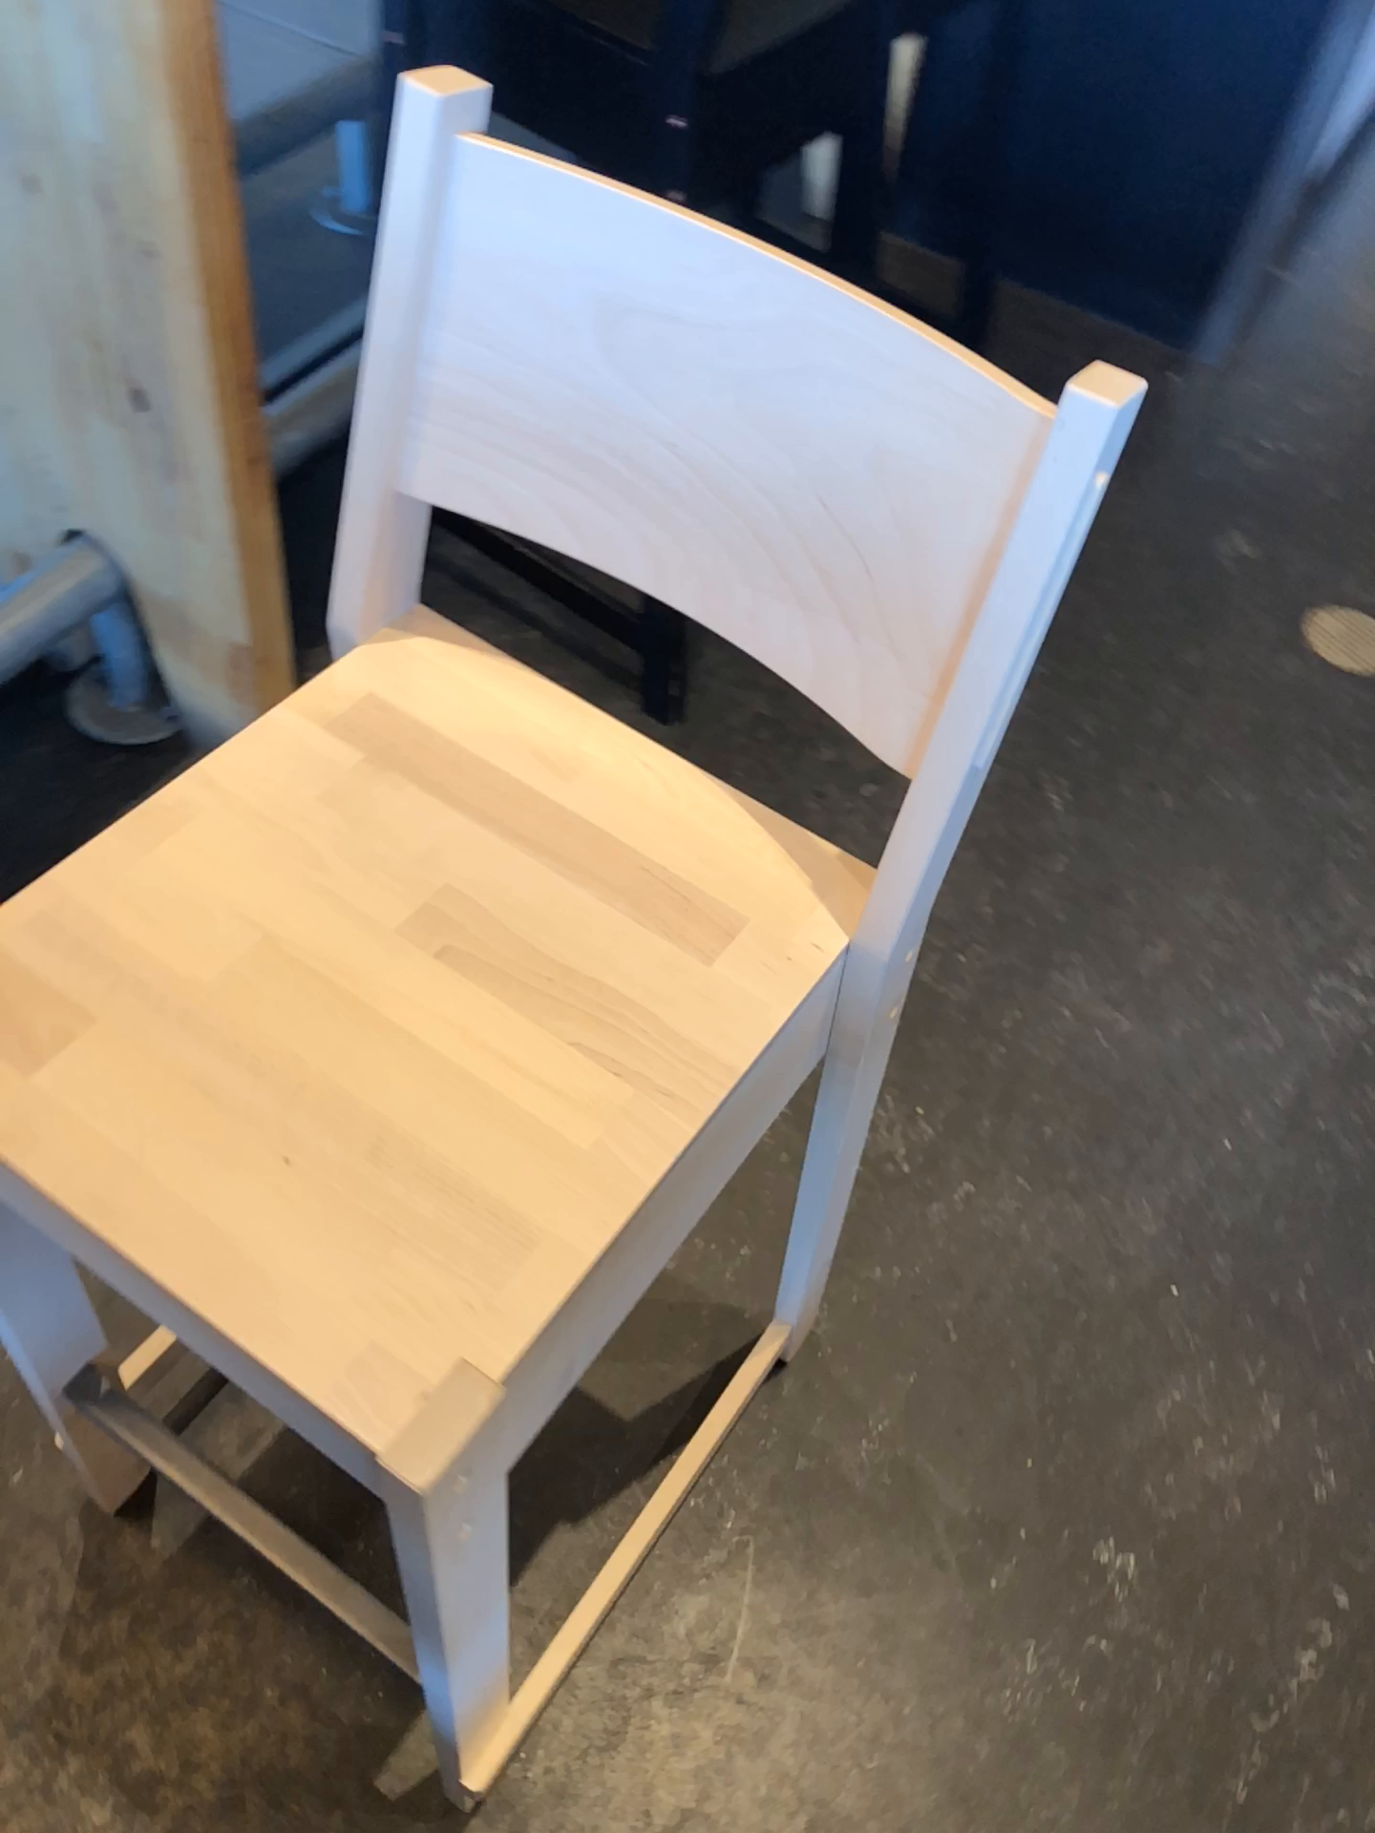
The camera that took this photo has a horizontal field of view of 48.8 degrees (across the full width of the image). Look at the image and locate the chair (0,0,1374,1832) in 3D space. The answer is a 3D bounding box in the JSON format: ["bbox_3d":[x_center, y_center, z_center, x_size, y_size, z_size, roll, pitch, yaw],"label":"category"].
[{"bbox_3d":[-0.126,0.079,0.888,0.460,0.977,0.541,31,55,15],"label":"chair"}]
